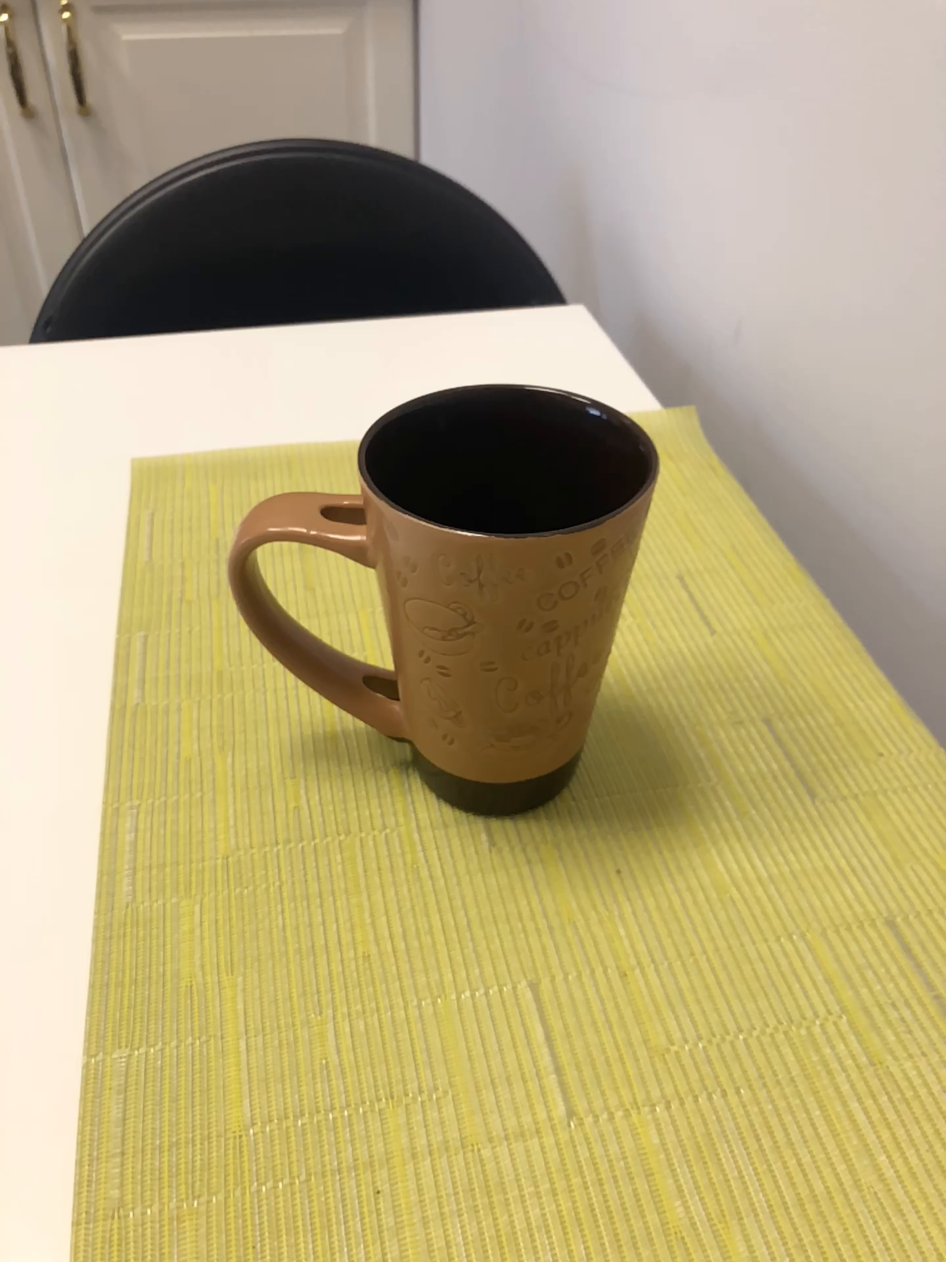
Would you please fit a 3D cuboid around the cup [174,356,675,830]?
[{"bbox_3d":[-0.013,-0.011,0.337,0.126,0.119,0.090,1,39,-1],"label":"cup"}]
